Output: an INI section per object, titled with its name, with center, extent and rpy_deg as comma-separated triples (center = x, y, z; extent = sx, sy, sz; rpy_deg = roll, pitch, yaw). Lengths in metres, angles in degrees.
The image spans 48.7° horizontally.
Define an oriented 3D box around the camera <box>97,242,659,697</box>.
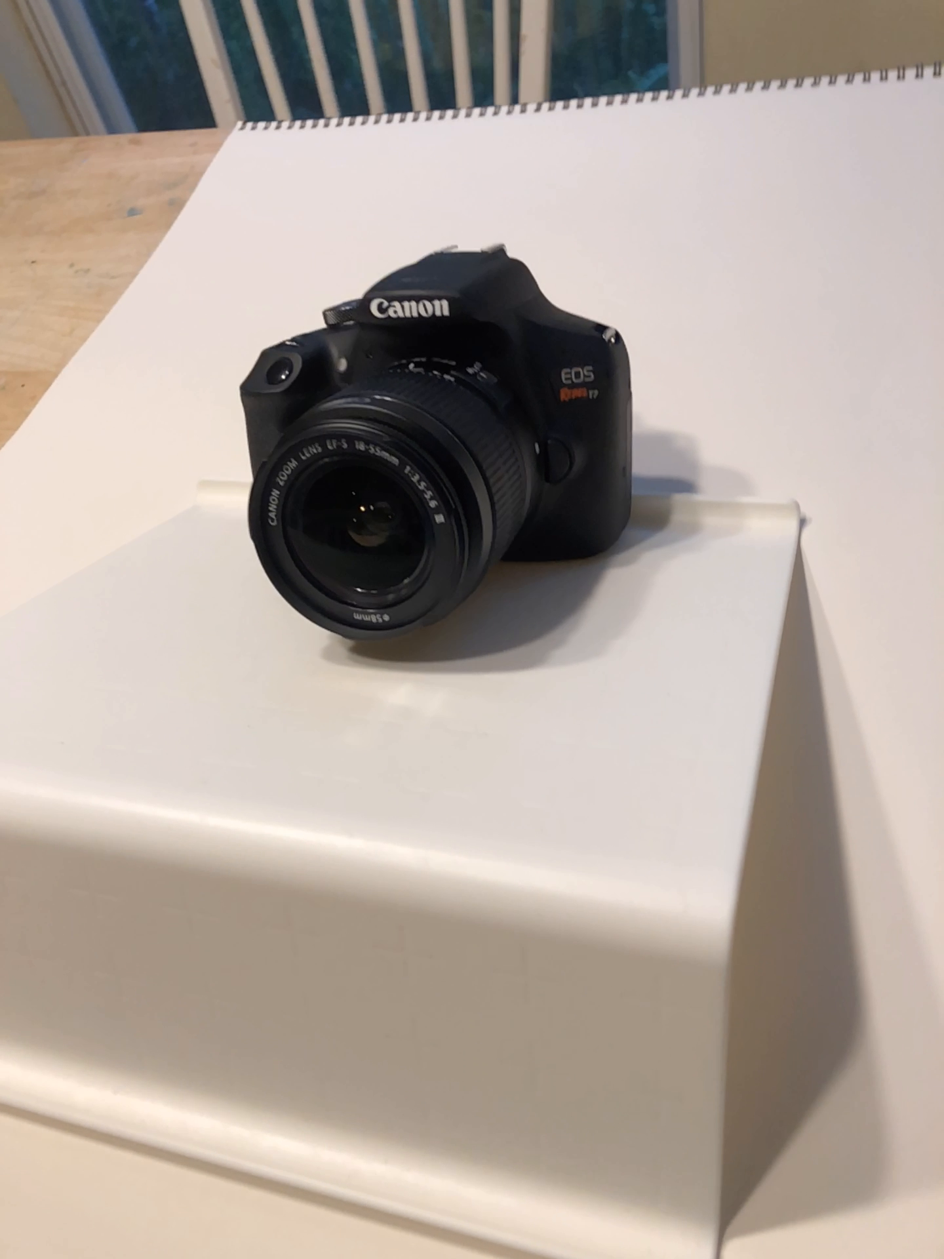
[camera]
center = -0.016, -0.064, 0.338
extent = 0.125, 0.104, 0.140
rpy_deg = 6, 25, 18
